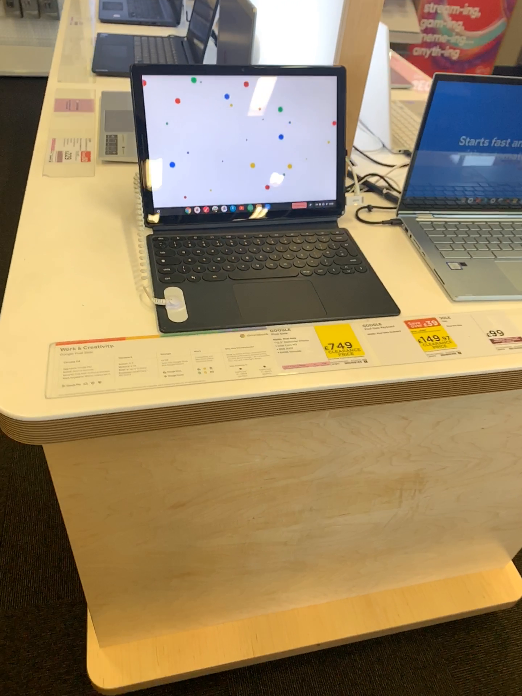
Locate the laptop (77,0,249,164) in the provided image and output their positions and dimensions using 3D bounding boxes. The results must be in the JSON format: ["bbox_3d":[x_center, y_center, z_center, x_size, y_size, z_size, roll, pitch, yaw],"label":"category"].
[{"bbox_3d":[-0.171,-0.498,0.922,0.232,0.222,0.321,-4,44,-13],"label":"laptop"}]

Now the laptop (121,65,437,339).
[{"bbox_3d":[-0.009,-0.192,0.653,0.285,0.187,0.295,-5,44,-14],"label":"laptop"}]
